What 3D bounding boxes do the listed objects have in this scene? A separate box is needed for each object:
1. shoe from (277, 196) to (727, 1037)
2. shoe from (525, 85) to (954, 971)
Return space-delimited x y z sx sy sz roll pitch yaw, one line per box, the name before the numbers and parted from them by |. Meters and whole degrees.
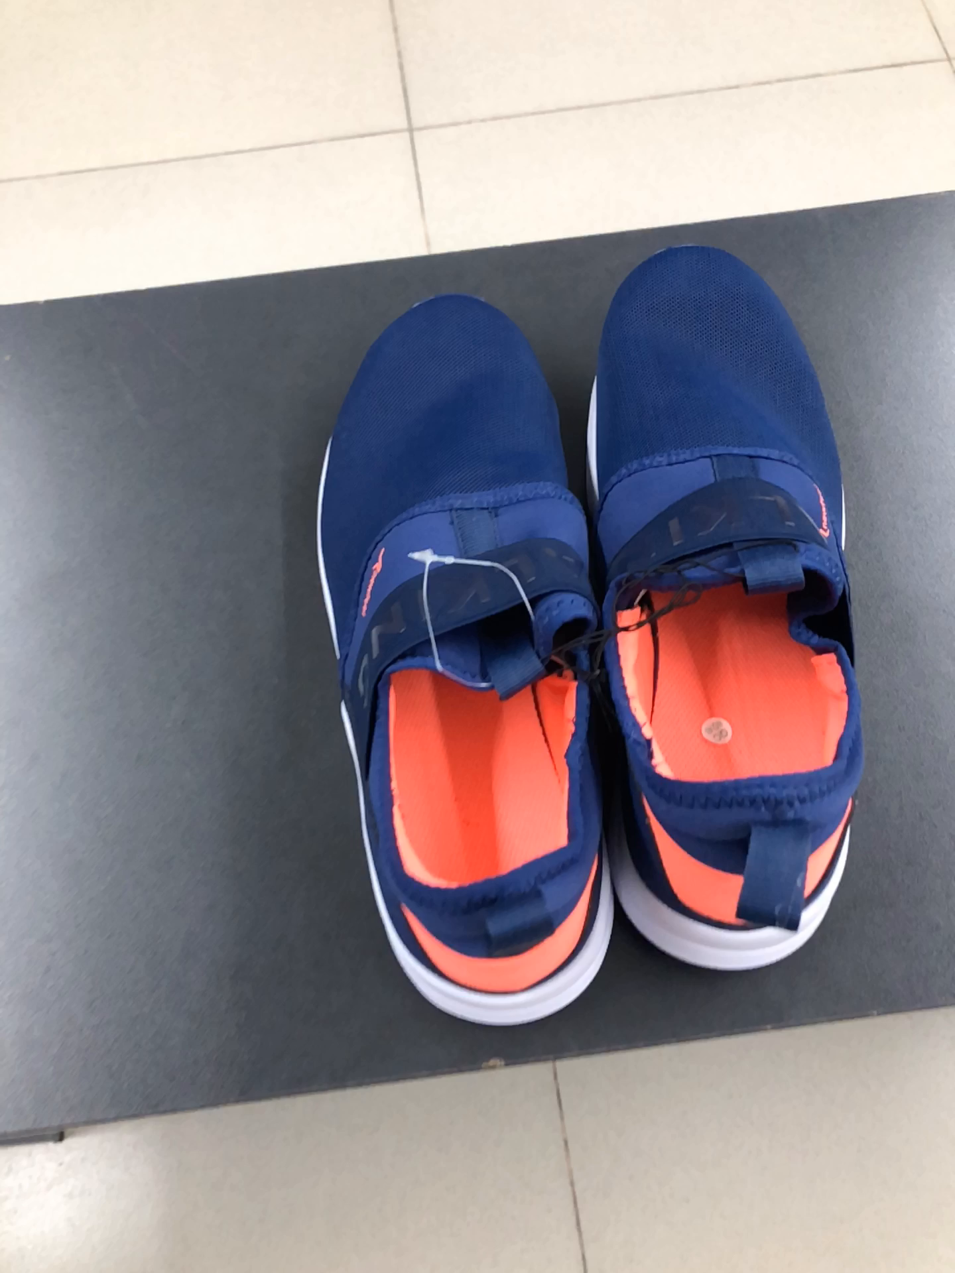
shoe | -0.002 -0.006 0.371 0.110 0.120 0.261 -5 67 0
shoe | 0.076 -0.028 0.328 0.110 0.120 0.241 -3 67 8
